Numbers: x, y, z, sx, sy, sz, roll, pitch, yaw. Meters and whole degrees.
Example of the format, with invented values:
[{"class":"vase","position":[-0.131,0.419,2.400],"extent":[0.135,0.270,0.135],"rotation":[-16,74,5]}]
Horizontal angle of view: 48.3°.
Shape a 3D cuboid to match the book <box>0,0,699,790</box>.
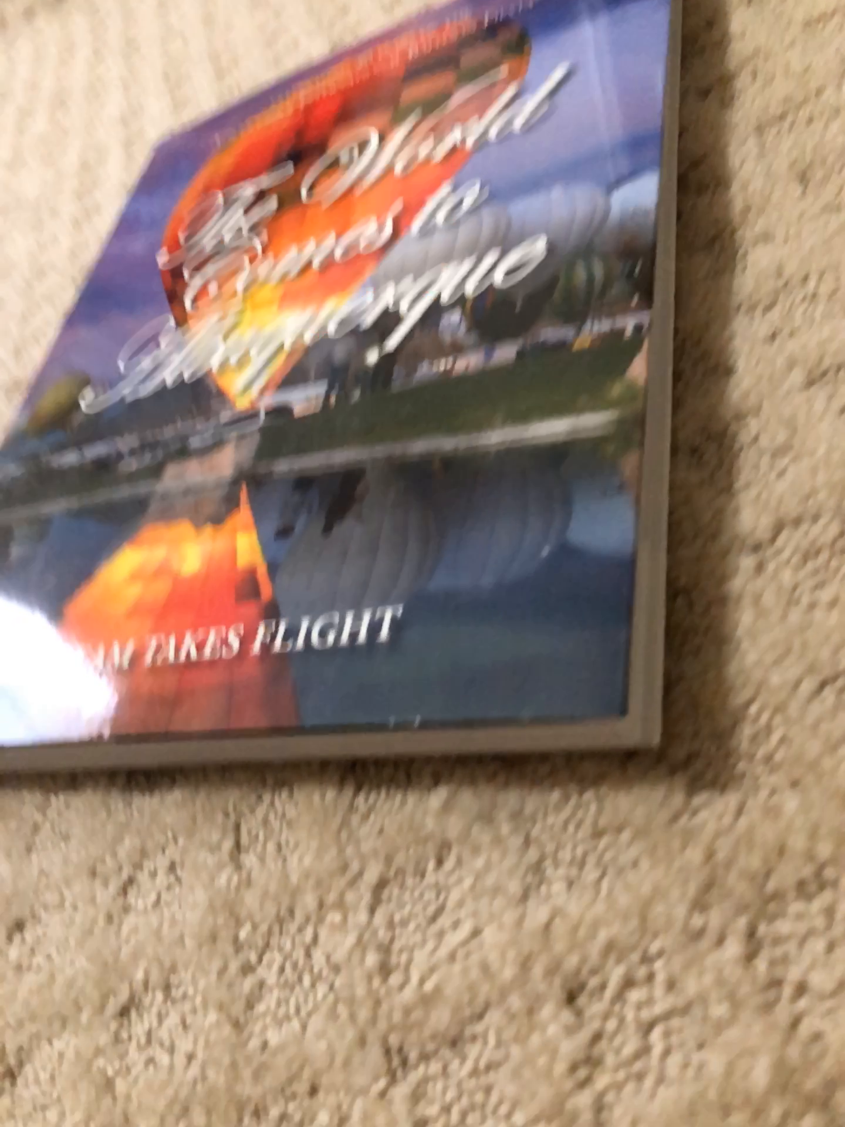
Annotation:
[{"class":"book","position":[-0.031,-0.066,0.262],"extent":[0.204,0.023,0.258],"rotation":[-8,52,29]}]
